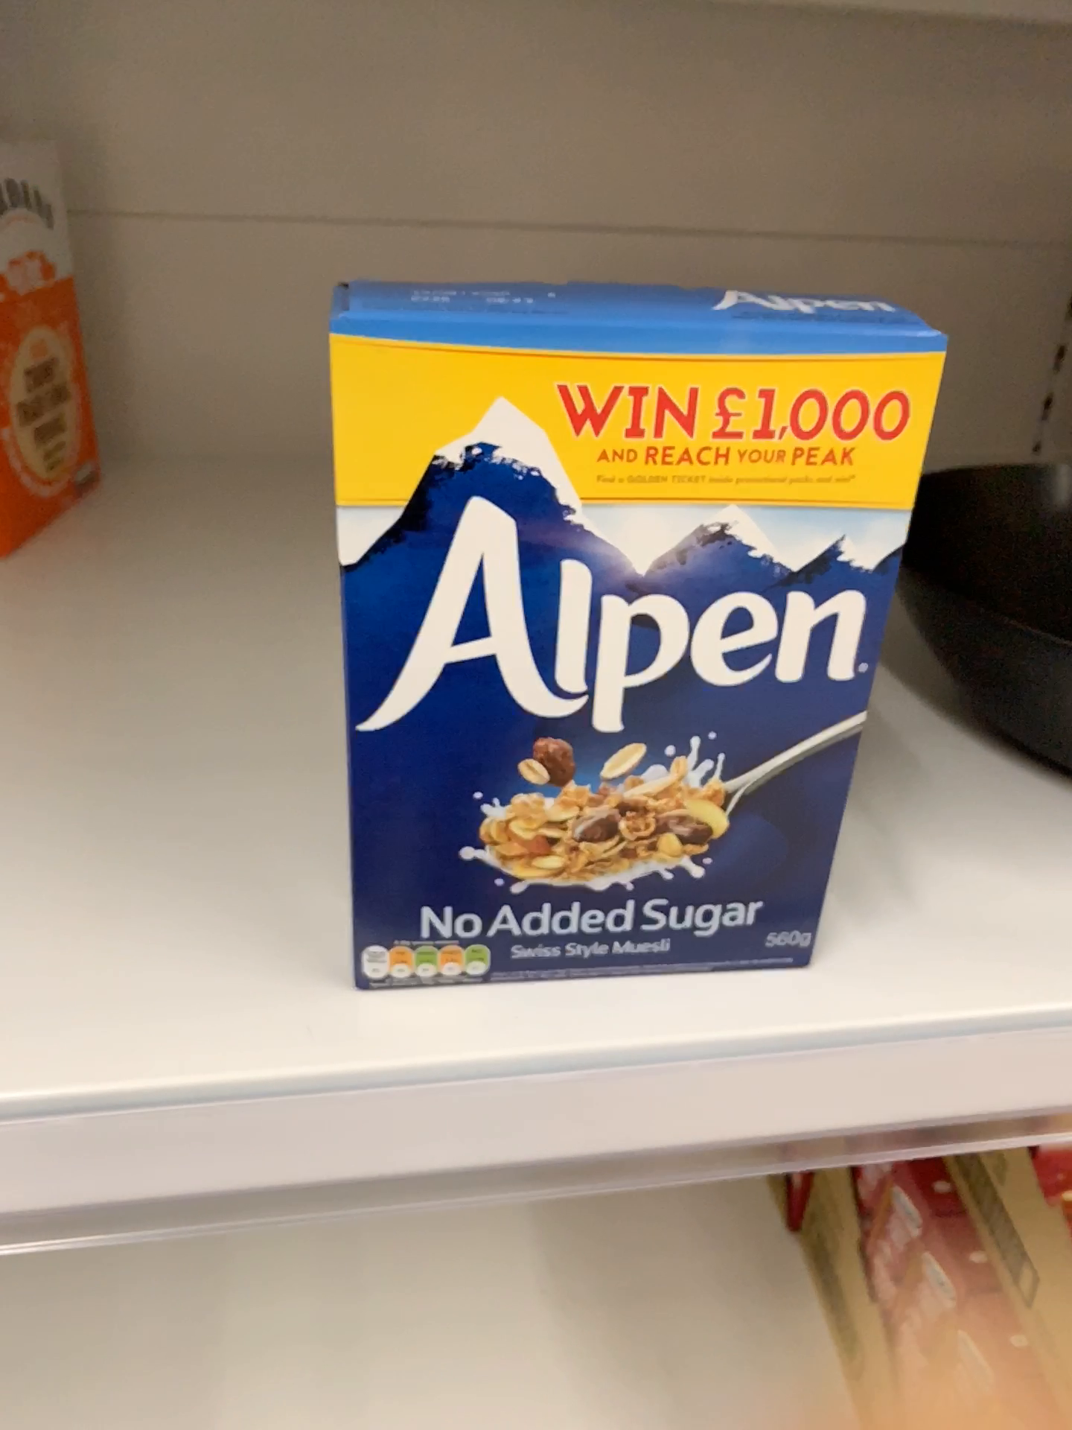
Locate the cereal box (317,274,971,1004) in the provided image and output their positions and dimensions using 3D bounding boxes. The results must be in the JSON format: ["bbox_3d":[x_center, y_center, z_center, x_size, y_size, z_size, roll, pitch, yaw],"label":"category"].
[{"bbox_3d":[0.023,-0.017,0.382,0.180,0.238,0.061,-1,28,-7],"label":"cereal box"}]
